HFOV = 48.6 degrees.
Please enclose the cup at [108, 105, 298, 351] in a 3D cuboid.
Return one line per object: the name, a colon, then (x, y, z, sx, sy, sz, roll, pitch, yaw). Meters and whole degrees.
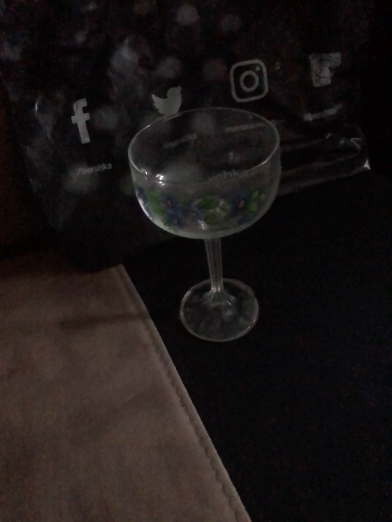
cup: (0.010, -0.018, 0.299, 0.096, 0.147, 0.085, 2, 46, 6)
